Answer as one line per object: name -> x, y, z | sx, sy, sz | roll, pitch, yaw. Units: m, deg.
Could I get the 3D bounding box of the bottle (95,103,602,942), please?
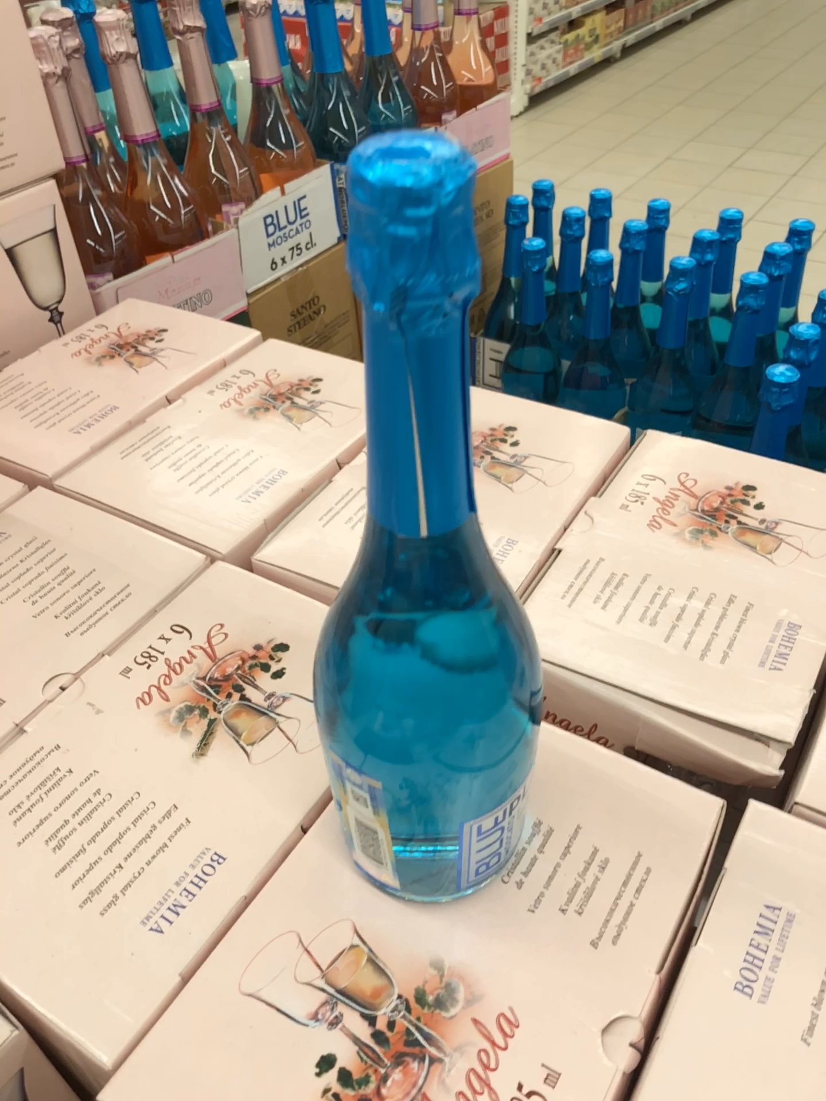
bottle -> -0.003, 0.009, 0.319 | 0.100, 0.278, 0.101 | -2, 40, 2

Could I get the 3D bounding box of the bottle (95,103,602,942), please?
bottle -> -0.003, 0.009, 0.319 | 0.100, 0.278, 0.101 | -2, 40, 2
